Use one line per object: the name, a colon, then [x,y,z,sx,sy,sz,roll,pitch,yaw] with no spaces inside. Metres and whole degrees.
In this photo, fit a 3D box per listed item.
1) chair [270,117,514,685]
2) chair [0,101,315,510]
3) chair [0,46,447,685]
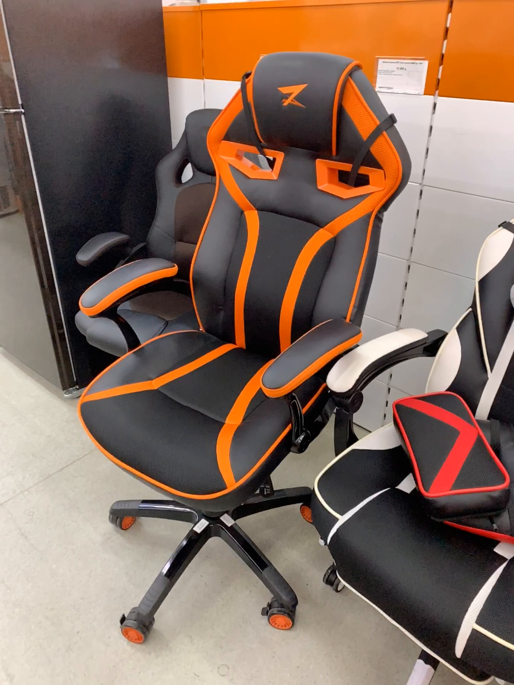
chair: [0.621,0.237,1.125,0.852,1.193,0.823,21,36,32]
chair: [-0.341,-0.205,2.139,0.822,1.323,0.723,21,36,32]
chair: [-0.154,0.028,1.295,0.722,1.313,0.732,25,38,36]
